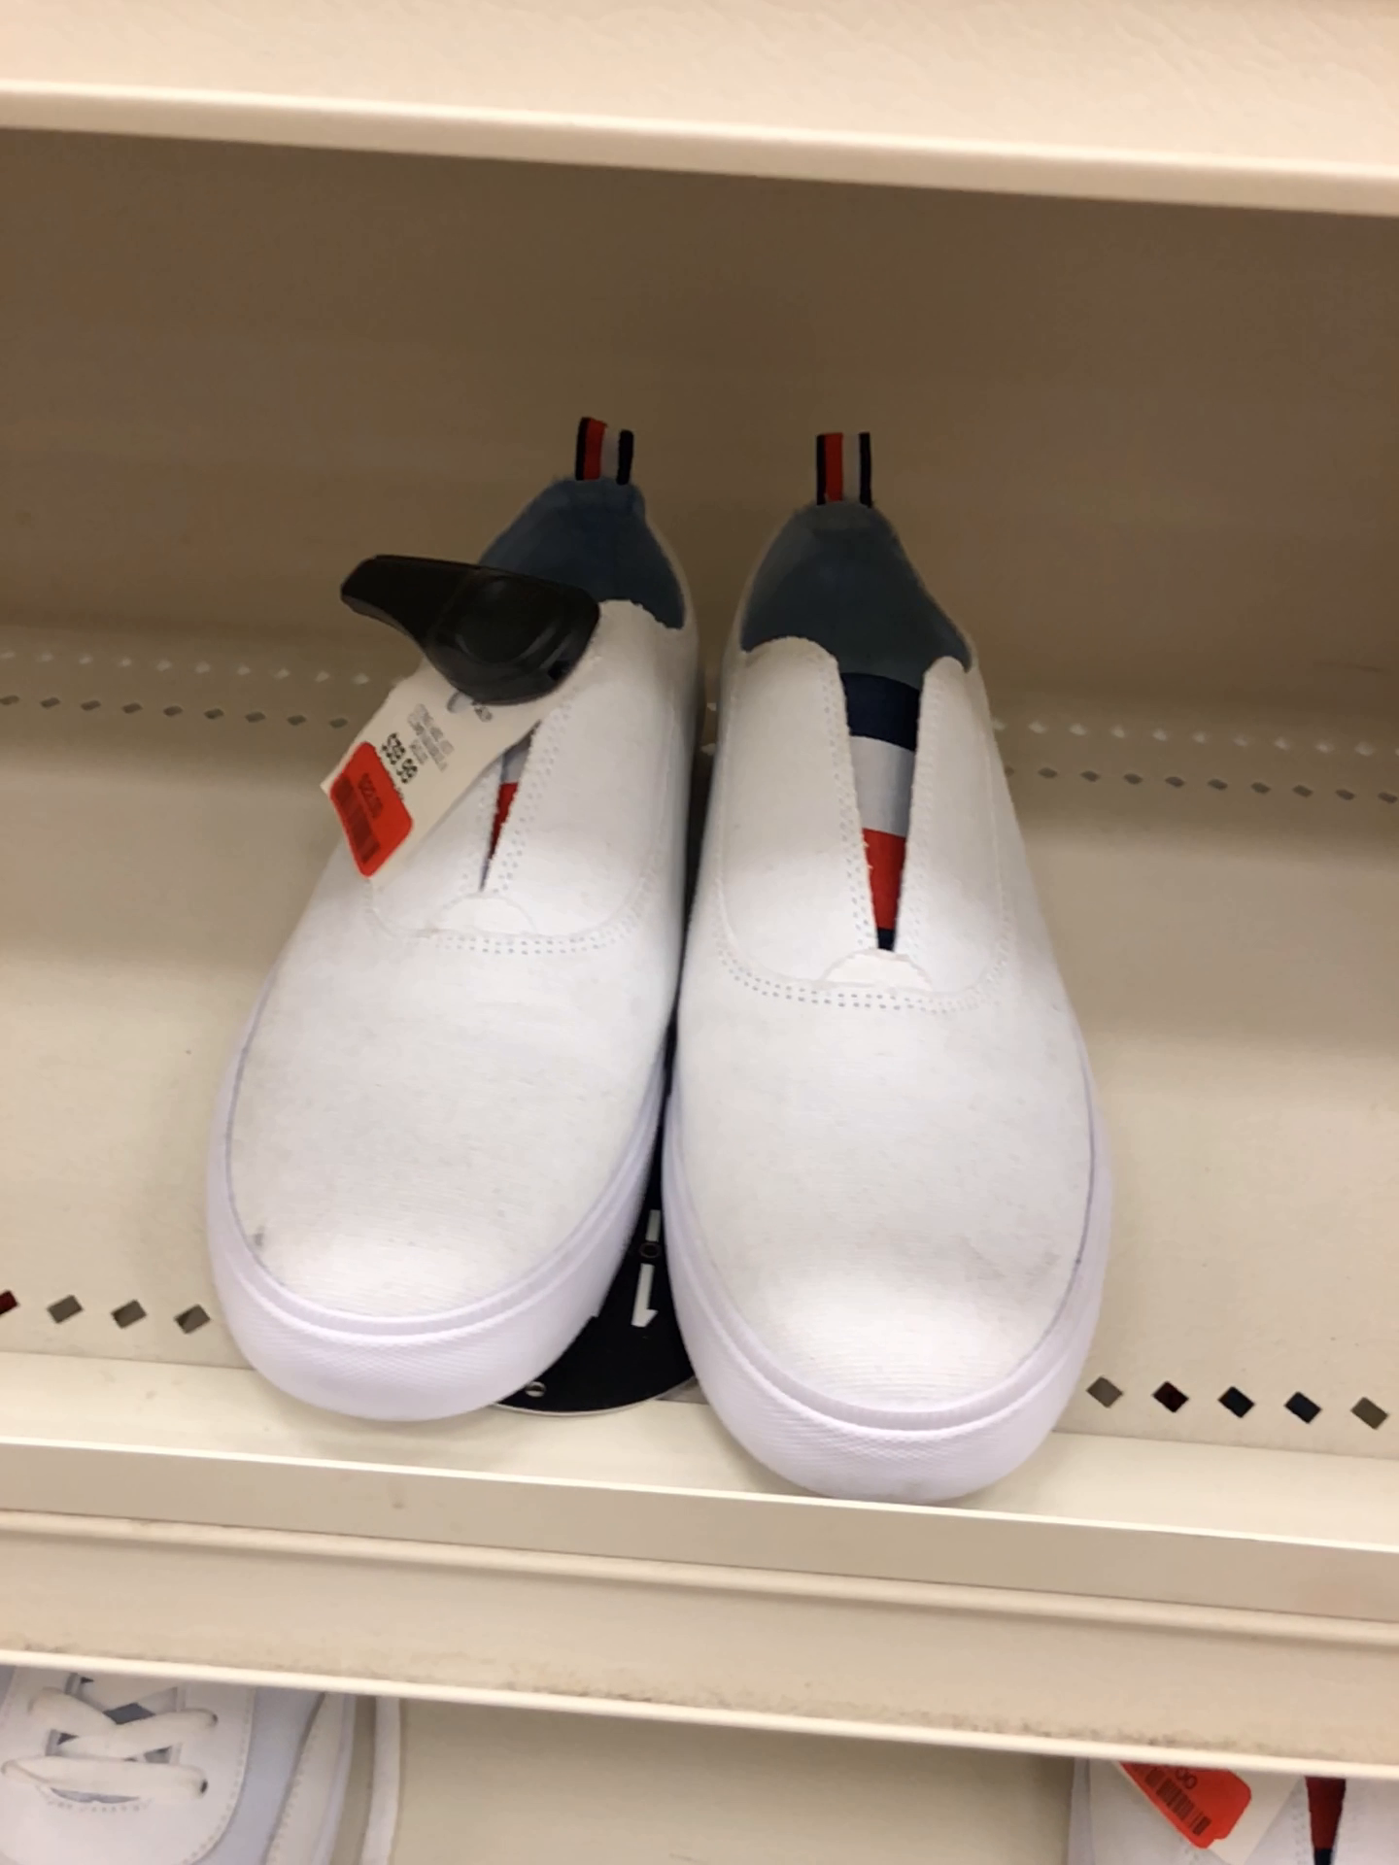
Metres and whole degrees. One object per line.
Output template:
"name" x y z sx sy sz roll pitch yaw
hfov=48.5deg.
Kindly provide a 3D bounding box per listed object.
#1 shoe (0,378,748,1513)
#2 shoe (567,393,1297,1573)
"shoe" -0.049 -0.031 0.346 0.100 0.089 0.293 4 36 2
"shoe" 0.041 -0.023 0.367 0.100 0.109 0.303 4 36 2
